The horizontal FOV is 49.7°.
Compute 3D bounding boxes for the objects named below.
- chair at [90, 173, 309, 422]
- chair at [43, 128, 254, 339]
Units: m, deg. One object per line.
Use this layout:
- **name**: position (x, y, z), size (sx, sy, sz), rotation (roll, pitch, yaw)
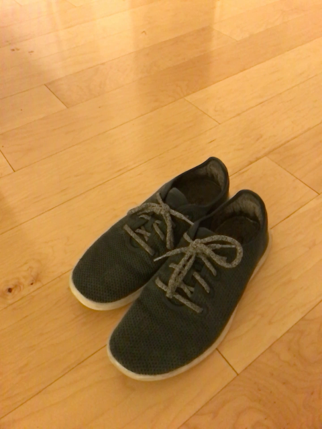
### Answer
- **chair**: position (0.063, 0.088, 0.455), size (0.110, 0.099, 0.302), rotation (31, 57, 24)
- **chair**: position (-0.002, 0.011, 0.510), size (0.100, 0.099, 0.322), rotation (36, 59, 18)
